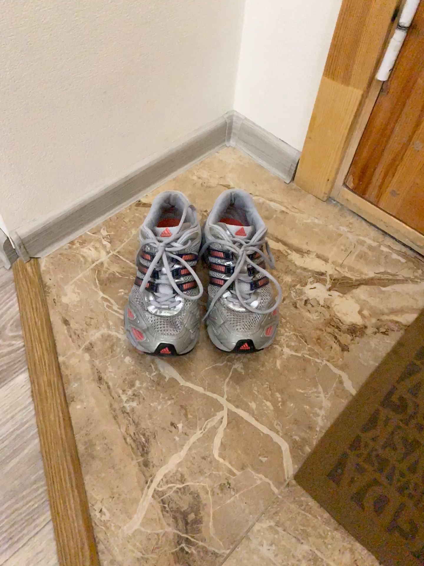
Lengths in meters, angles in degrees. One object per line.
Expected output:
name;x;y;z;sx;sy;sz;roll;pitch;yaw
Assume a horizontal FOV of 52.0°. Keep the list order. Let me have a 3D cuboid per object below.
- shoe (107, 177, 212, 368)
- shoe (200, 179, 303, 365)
shoe;-0.058;-0.021;0.571;0.110;0.090;0.241;2;53;-3
shoe;0.041;-0.021;0.582;0.110;0.090;0.241;1;53;-3
